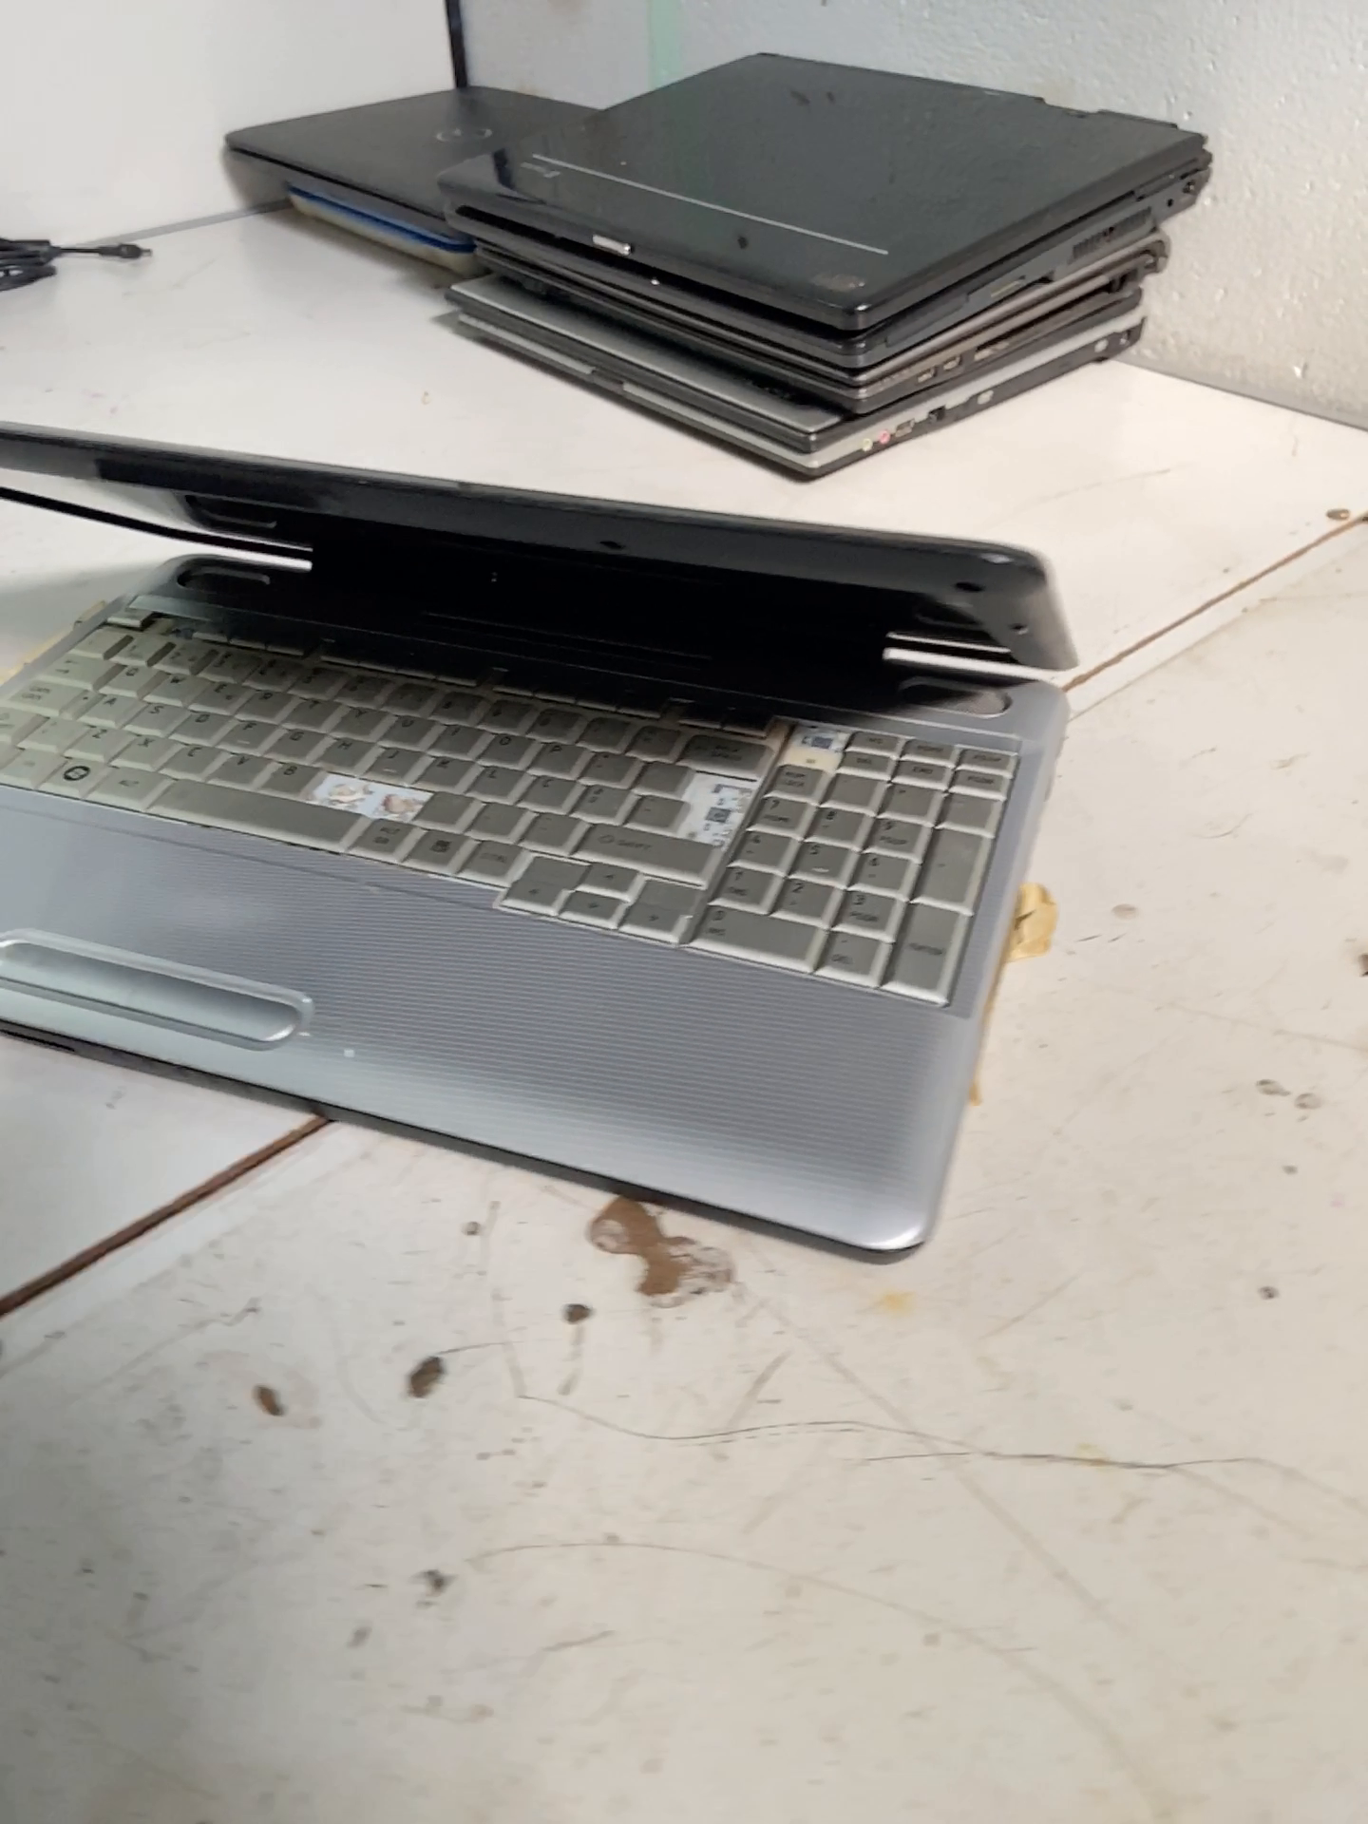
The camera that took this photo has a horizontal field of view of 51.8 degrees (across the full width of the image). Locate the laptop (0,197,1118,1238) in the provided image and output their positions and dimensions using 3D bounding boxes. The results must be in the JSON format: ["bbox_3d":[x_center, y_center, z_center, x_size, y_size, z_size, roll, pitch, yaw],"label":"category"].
[{"bbox_3d":[-0.086,-0.093,0.427,0.371,0.143,0.257,12,43,15],"label":"laptop"}]
